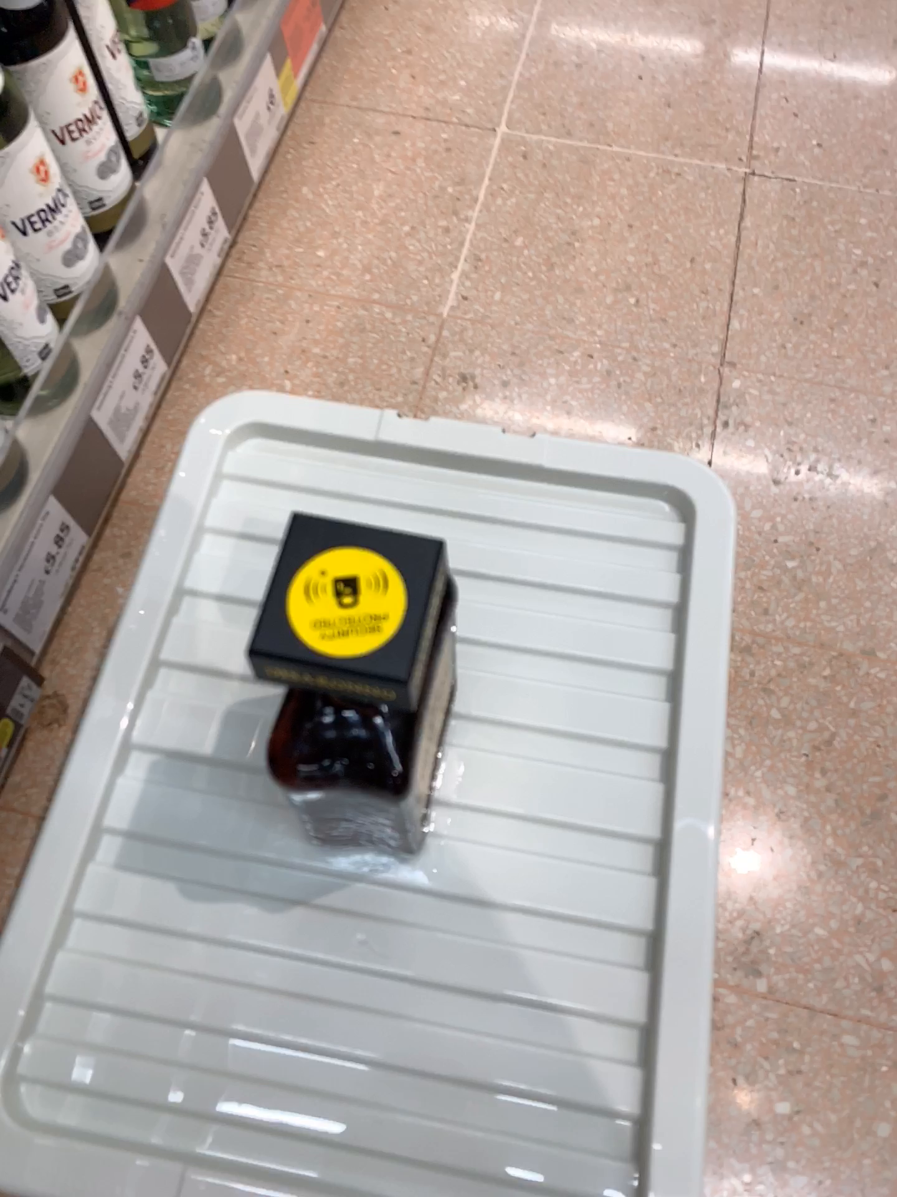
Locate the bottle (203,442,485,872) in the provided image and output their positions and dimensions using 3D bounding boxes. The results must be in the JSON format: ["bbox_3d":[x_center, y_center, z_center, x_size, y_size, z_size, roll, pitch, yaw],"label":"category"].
[{"bbox_3d":[-0.032,0.042,0.402,0.070,0.209,0.111,11,65,5],"label":"bottle"}]
